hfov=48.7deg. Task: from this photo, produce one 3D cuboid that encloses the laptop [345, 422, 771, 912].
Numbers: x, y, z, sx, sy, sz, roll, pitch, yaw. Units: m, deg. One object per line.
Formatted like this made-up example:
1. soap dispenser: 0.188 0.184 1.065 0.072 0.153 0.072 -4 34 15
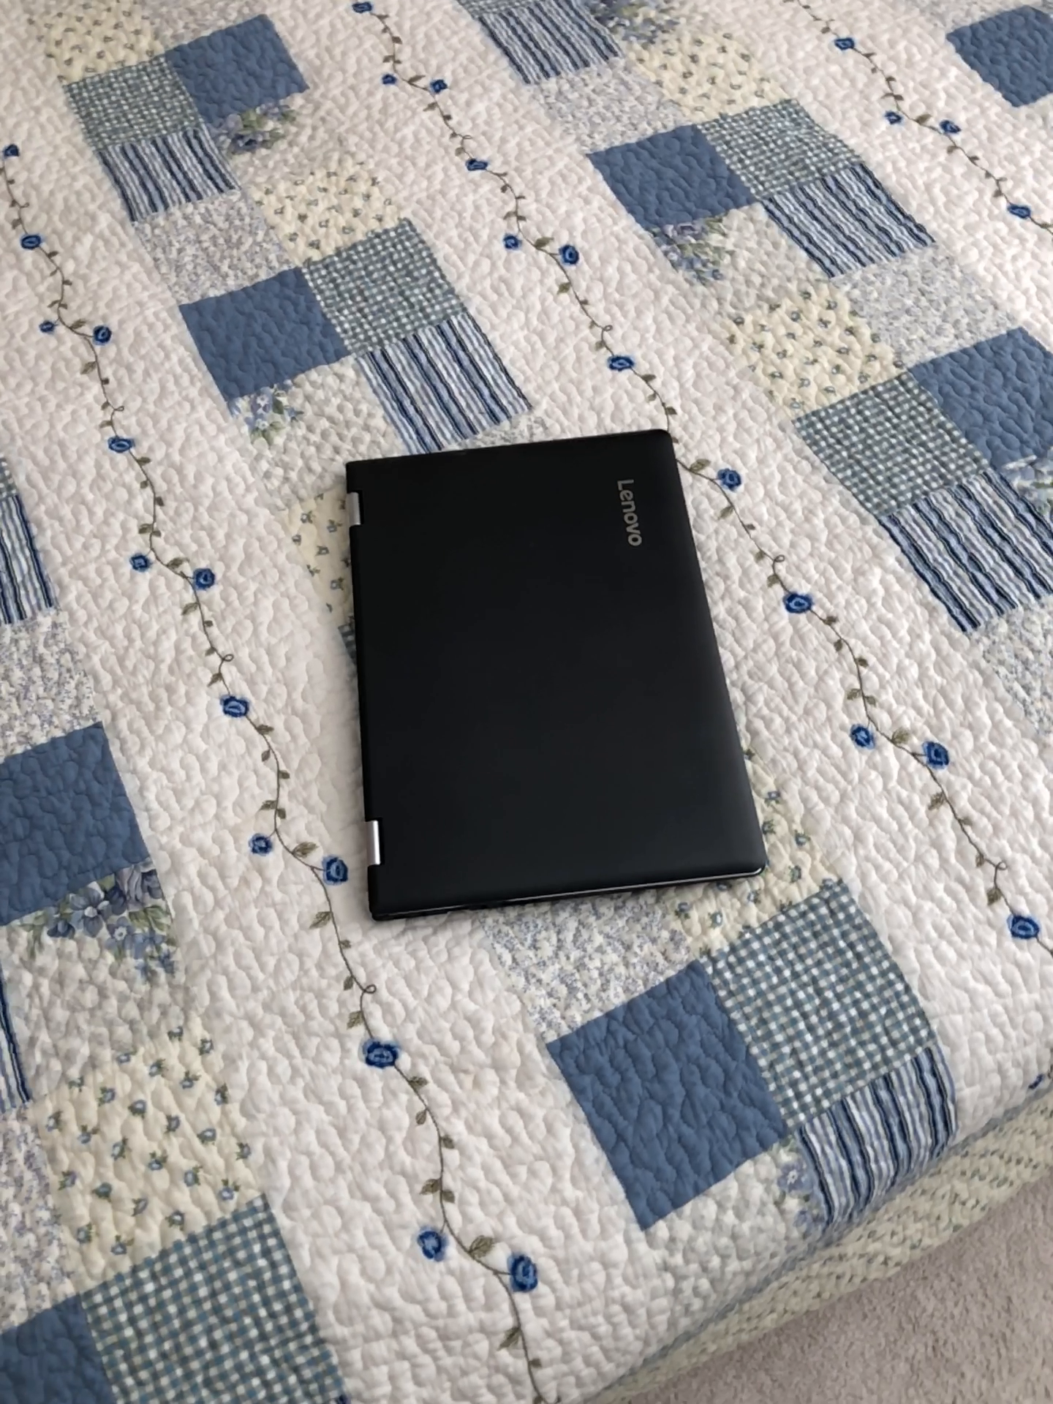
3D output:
1. laptop: 0.005 -0.038 0.723 0.223 0.008 0.321 -7 61 -1
